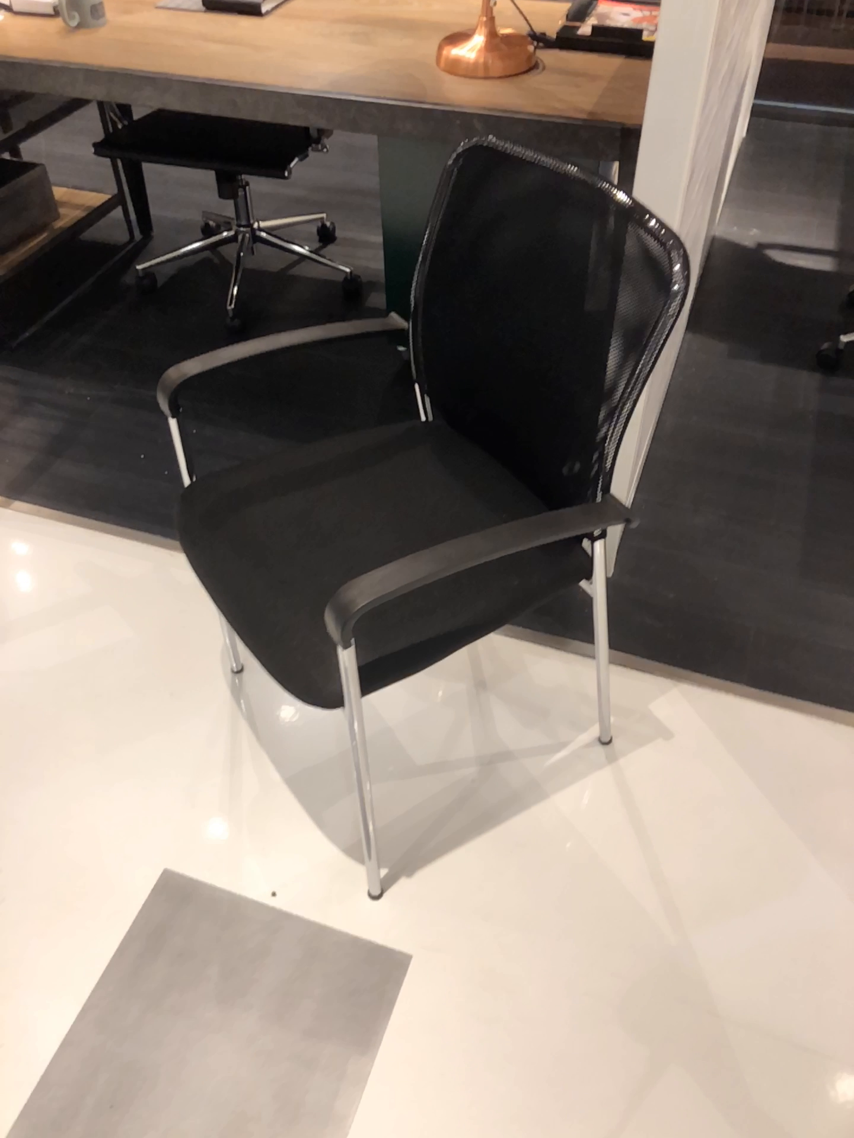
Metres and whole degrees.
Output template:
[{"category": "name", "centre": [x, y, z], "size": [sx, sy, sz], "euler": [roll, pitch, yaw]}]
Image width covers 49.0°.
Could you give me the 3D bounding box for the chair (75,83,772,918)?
[{"category": "chair", "centre": [-0.030, -0.085, 1.306], "size": [0.511, 0.864, 0.593], "euler": [-24, 49, -22]}]
